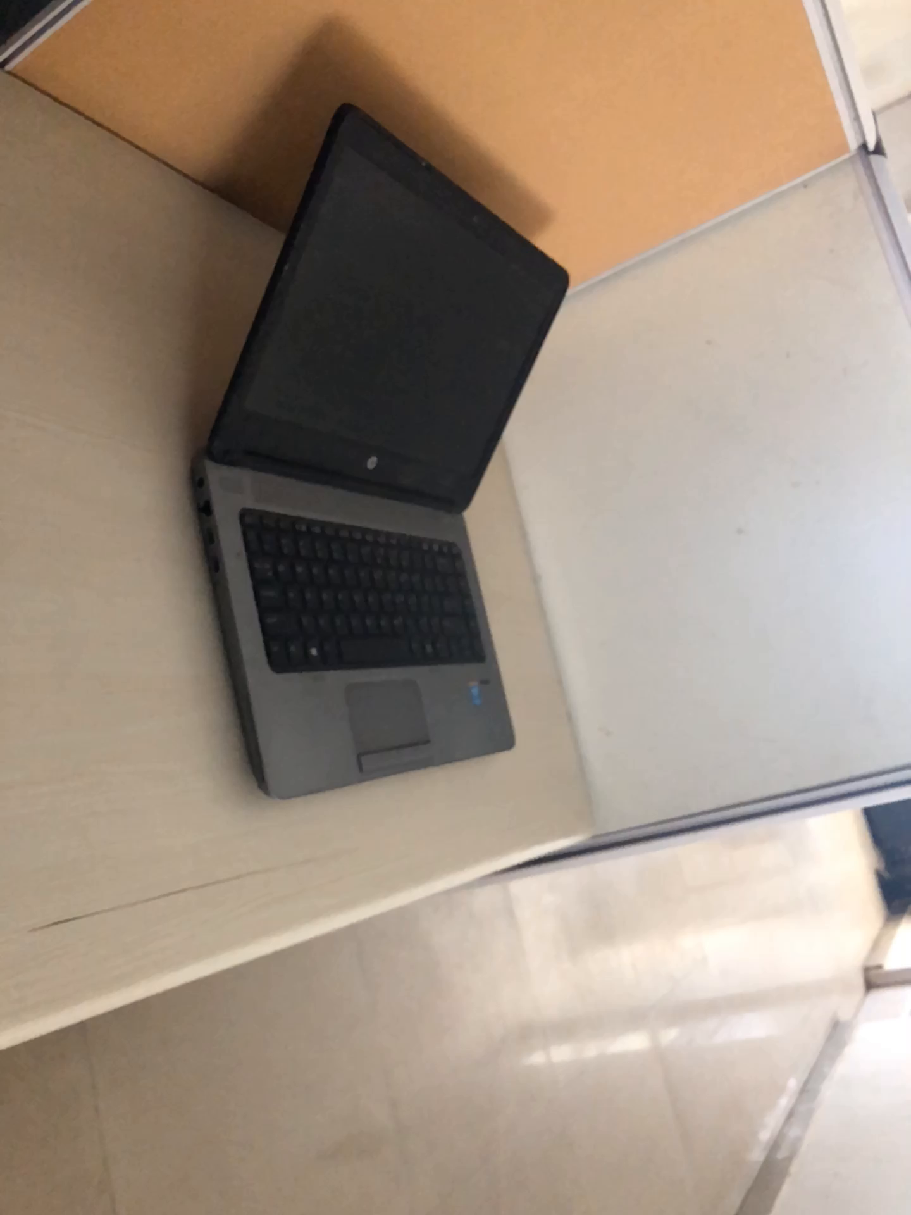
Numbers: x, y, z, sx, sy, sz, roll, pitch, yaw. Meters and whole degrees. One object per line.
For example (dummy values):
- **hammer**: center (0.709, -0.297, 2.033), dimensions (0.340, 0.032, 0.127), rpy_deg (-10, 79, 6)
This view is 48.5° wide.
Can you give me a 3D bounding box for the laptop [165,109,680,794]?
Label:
- **laptop**: center (-0.004, -0.088, 0.754), dimensions (0.325, 0.167, 0.371), rpy_deg (2, 73, -61)
